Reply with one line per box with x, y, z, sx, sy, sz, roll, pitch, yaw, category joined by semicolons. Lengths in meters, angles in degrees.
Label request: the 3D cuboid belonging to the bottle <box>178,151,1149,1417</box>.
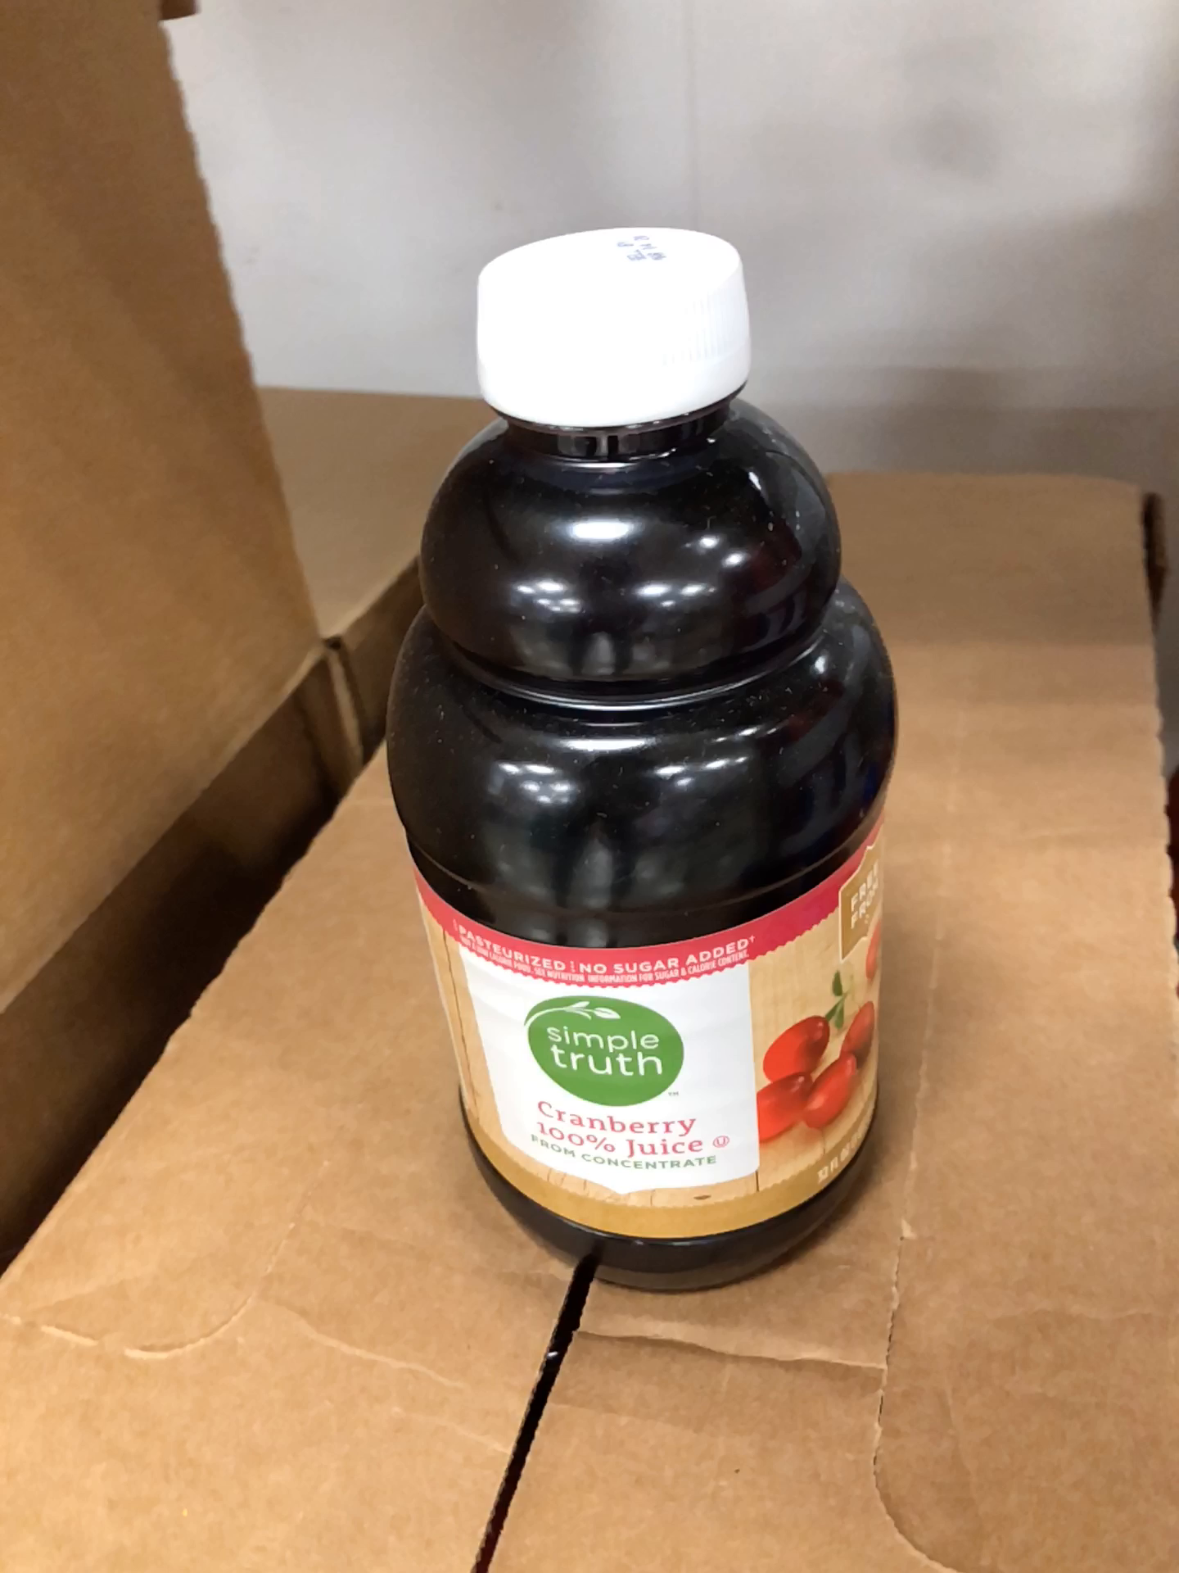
0.014;0.002;0.258;0.110;0.199;0.100;-4;37;3;bottle

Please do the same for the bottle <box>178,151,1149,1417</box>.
0.014;0.002;0.258;0.110;0.199;0.100;-4;37;3;bottle
